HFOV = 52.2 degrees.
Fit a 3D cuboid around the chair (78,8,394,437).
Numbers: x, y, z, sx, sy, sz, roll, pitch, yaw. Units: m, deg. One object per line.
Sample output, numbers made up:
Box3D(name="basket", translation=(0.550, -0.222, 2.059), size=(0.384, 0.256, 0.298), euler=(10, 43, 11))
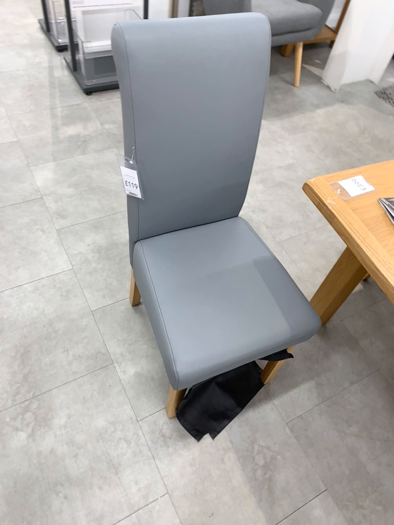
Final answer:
Box3D(name="chair", translation=(0.040, -0.052, 1.109), size=(0.473, 0.907, 0.658), euler=(-15, 57, -19))
